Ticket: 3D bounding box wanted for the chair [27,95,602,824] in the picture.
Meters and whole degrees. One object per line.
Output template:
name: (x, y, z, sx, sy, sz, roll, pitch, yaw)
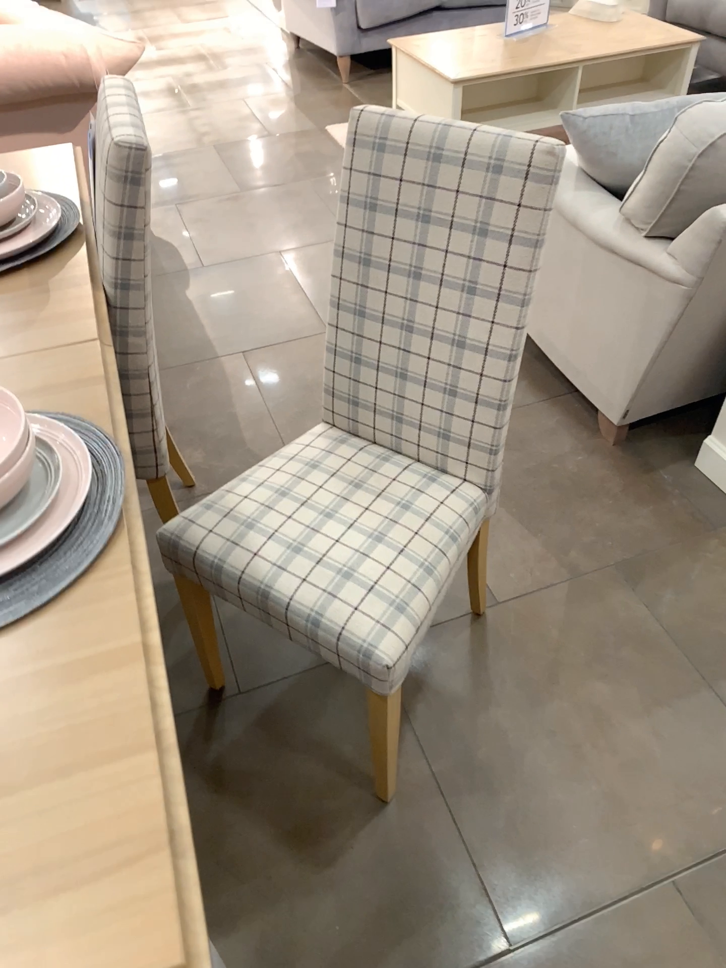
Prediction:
chair: (-0.009, -0.005, 1.188, 0.429, 0.938, 0.570, 22, 49, 23)
